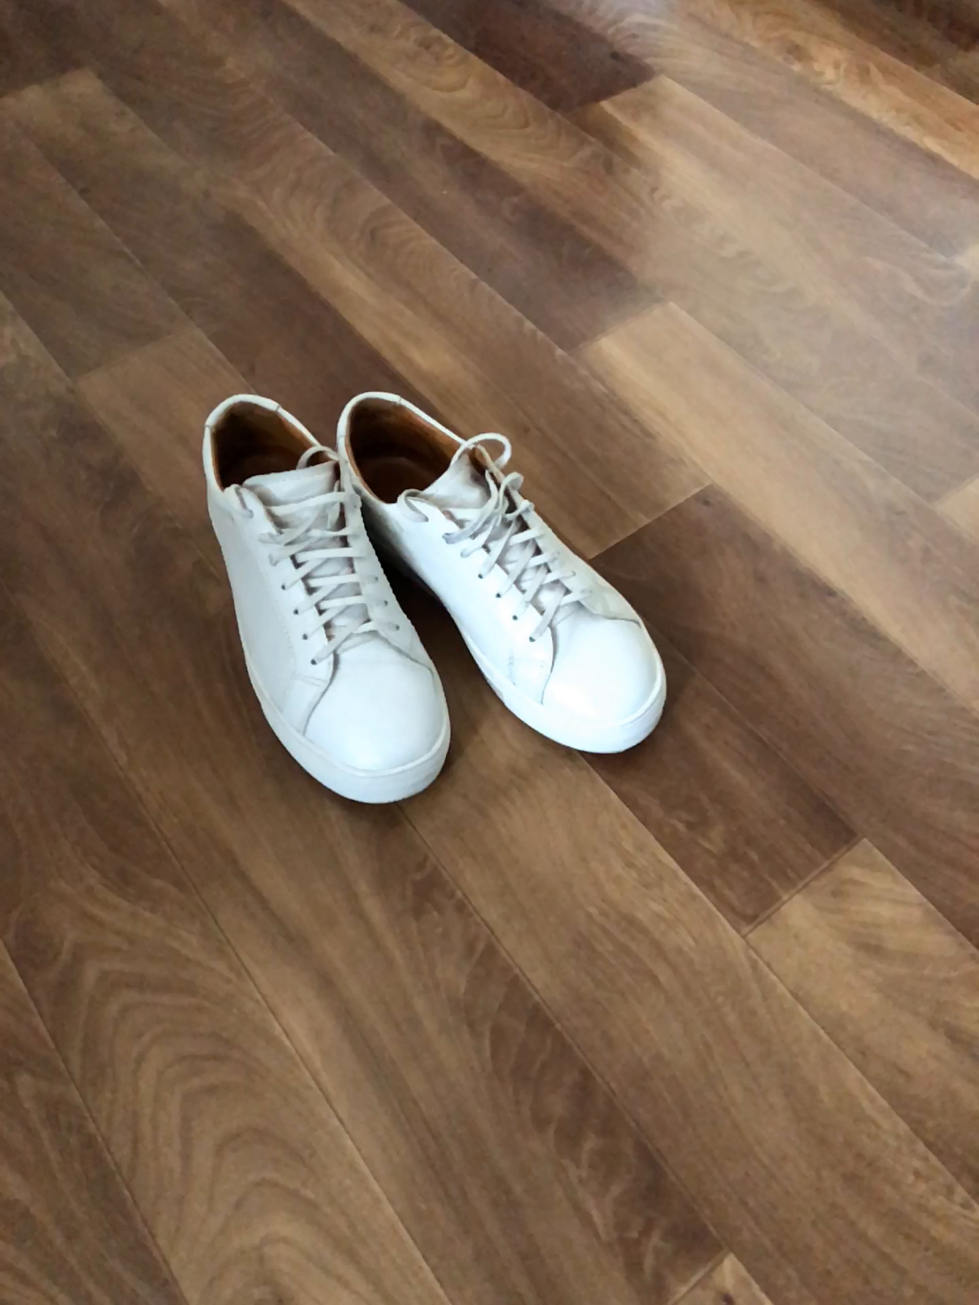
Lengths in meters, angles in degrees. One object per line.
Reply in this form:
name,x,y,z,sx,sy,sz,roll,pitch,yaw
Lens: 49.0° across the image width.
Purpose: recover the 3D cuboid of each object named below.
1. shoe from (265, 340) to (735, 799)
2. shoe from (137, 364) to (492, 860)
shoe,-0.002,-0.059,0.652,0.110,0.090,0.281,-37,64,-21
shoe,-0.108,-0.035,0.644,0.110,0.090,0.281,-22,59,-13
